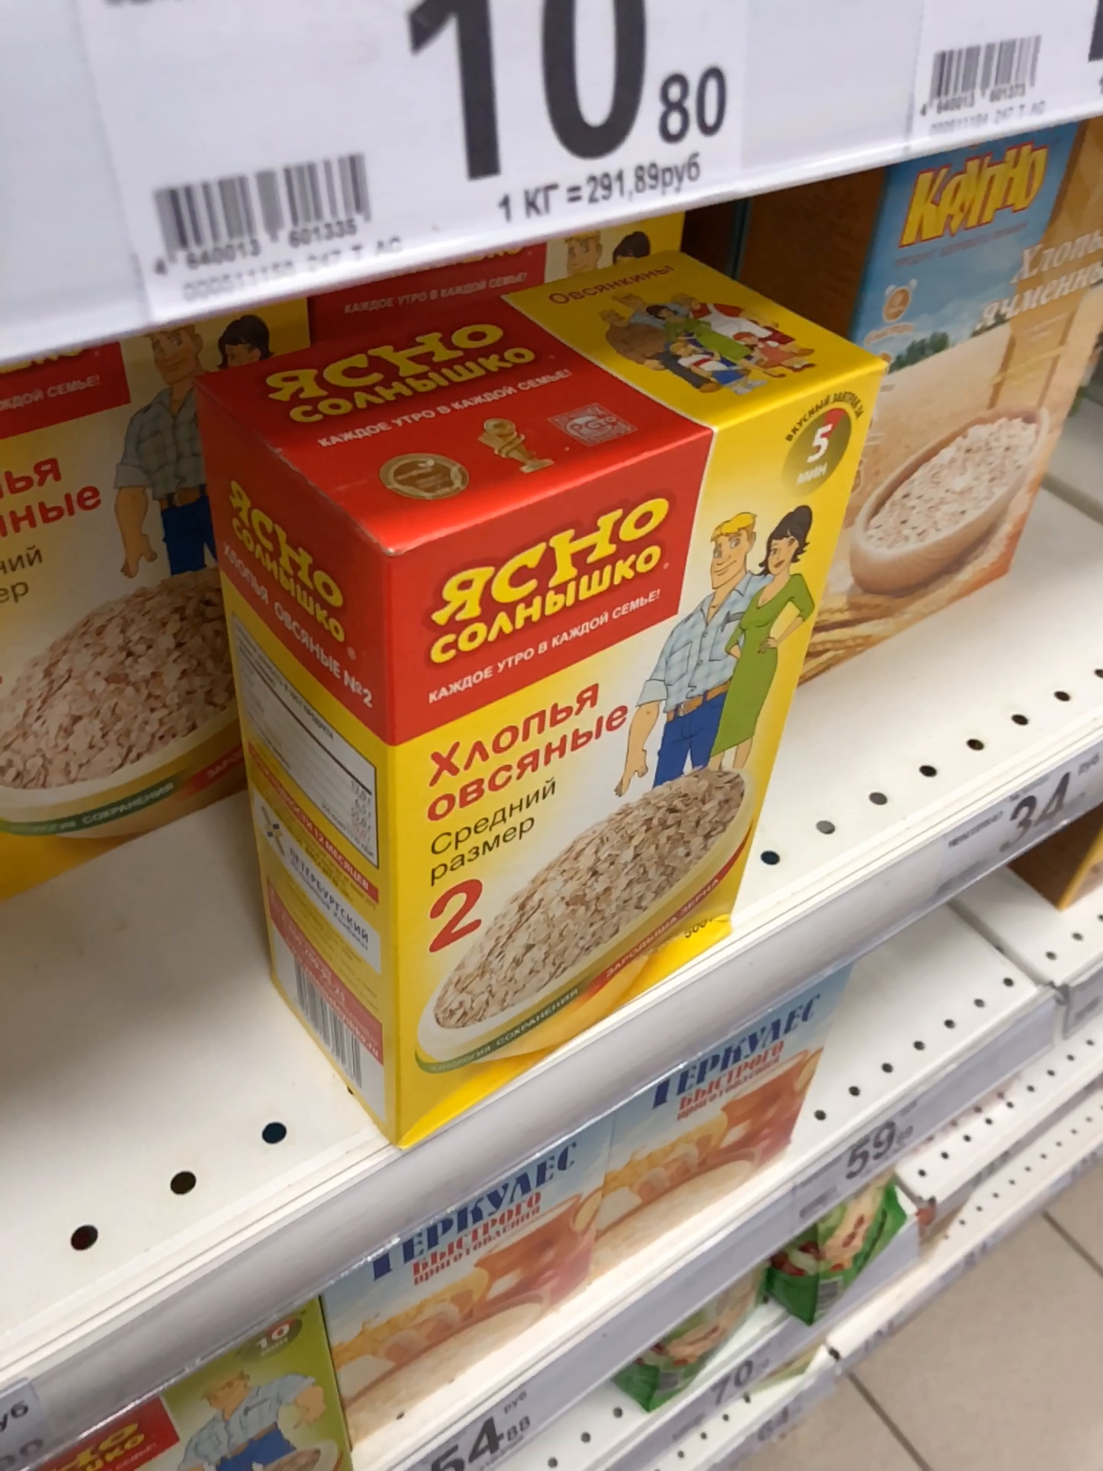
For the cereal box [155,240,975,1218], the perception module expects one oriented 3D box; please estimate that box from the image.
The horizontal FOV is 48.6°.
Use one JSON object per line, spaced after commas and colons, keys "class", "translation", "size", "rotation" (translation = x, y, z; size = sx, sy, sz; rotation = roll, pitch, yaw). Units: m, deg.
{"class": "cereal box", "translation": [0.000, 0.005, 0.283], "size": [0.130, 0.189, 0.070], "rotation": [-25, 51, -27]}
